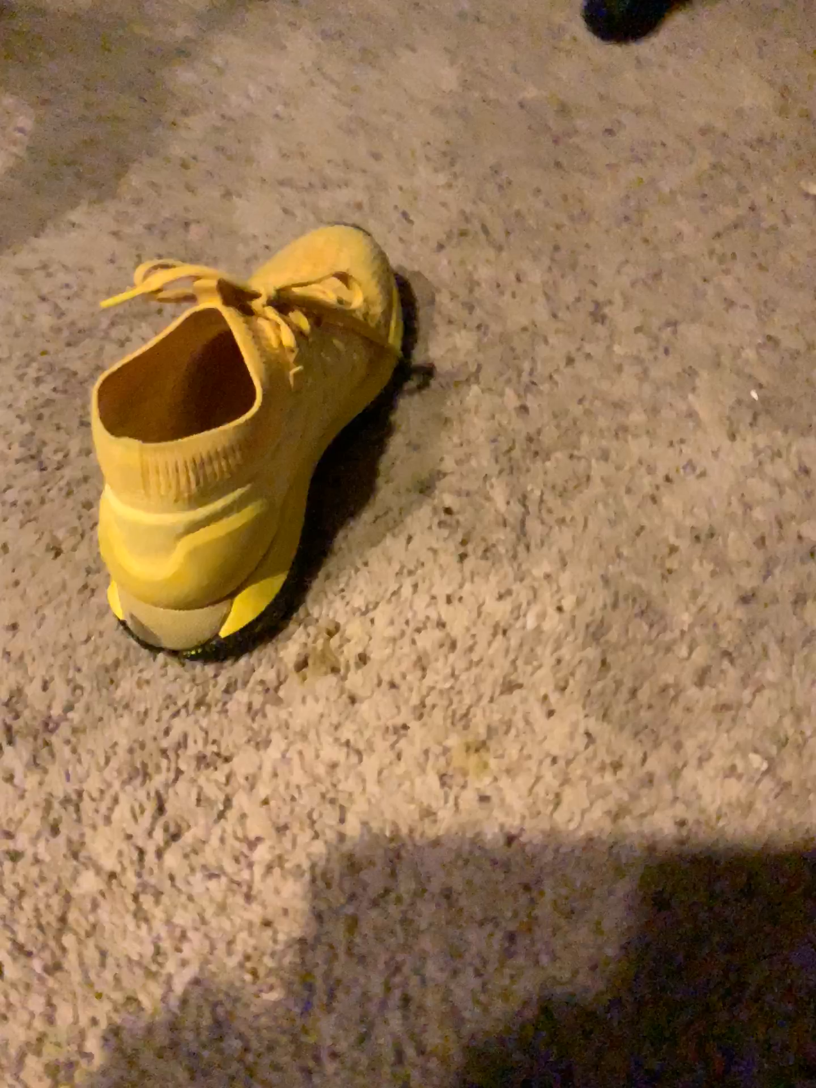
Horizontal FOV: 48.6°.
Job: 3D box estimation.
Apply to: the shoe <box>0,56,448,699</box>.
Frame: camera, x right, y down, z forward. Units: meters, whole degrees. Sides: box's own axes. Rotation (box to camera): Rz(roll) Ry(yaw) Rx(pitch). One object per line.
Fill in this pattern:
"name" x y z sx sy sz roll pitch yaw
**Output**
"shoe" -0.089 -0.105 0.465 0.130 0.130 0.320 10 55 15
